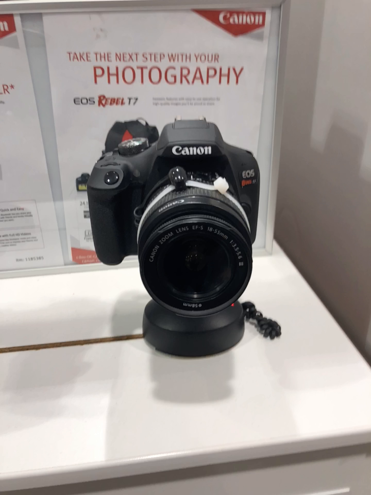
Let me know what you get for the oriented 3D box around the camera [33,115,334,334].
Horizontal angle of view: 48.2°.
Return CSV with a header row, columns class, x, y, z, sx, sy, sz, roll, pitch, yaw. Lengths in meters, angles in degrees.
class,x,y,z,sx,sy,sz,roll,pitch,yaw
camera,-0.002,-0.029,0.280,0.140,0.090,0.151,-3,26,-2
